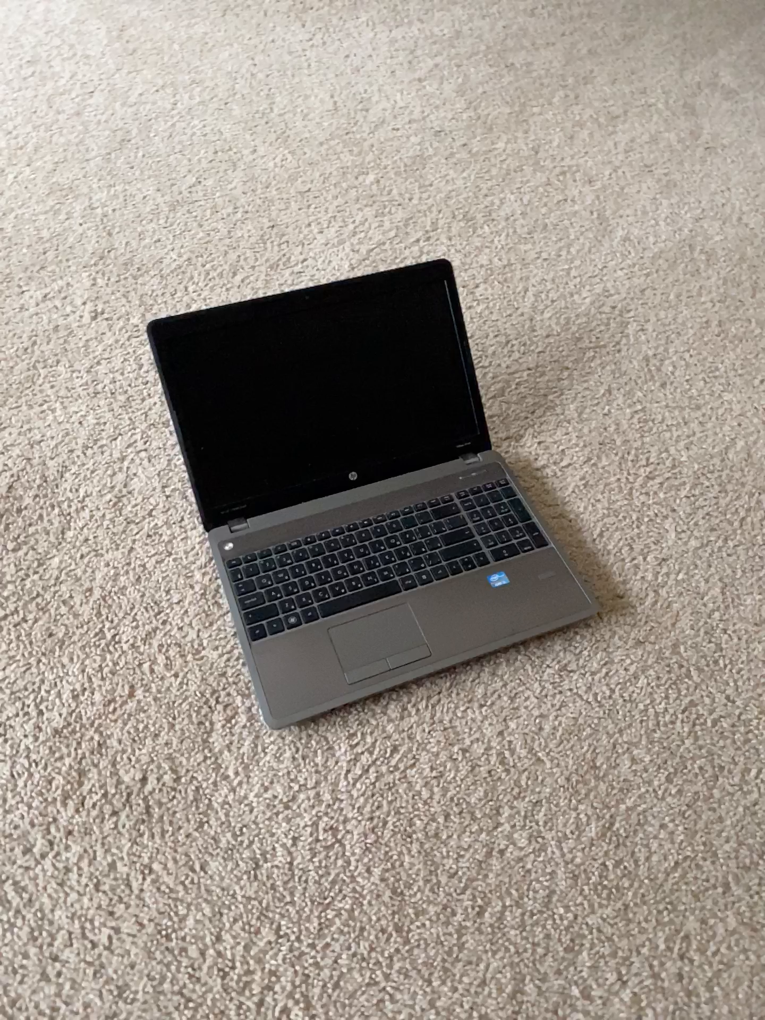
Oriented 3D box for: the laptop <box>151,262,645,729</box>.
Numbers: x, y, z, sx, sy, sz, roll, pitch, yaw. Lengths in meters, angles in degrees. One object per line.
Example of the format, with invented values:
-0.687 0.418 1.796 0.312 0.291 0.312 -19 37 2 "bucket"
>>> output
-0.012 -0.048 0.862 0.374 0.162 0.436 -16 54 -14 "laptop"
